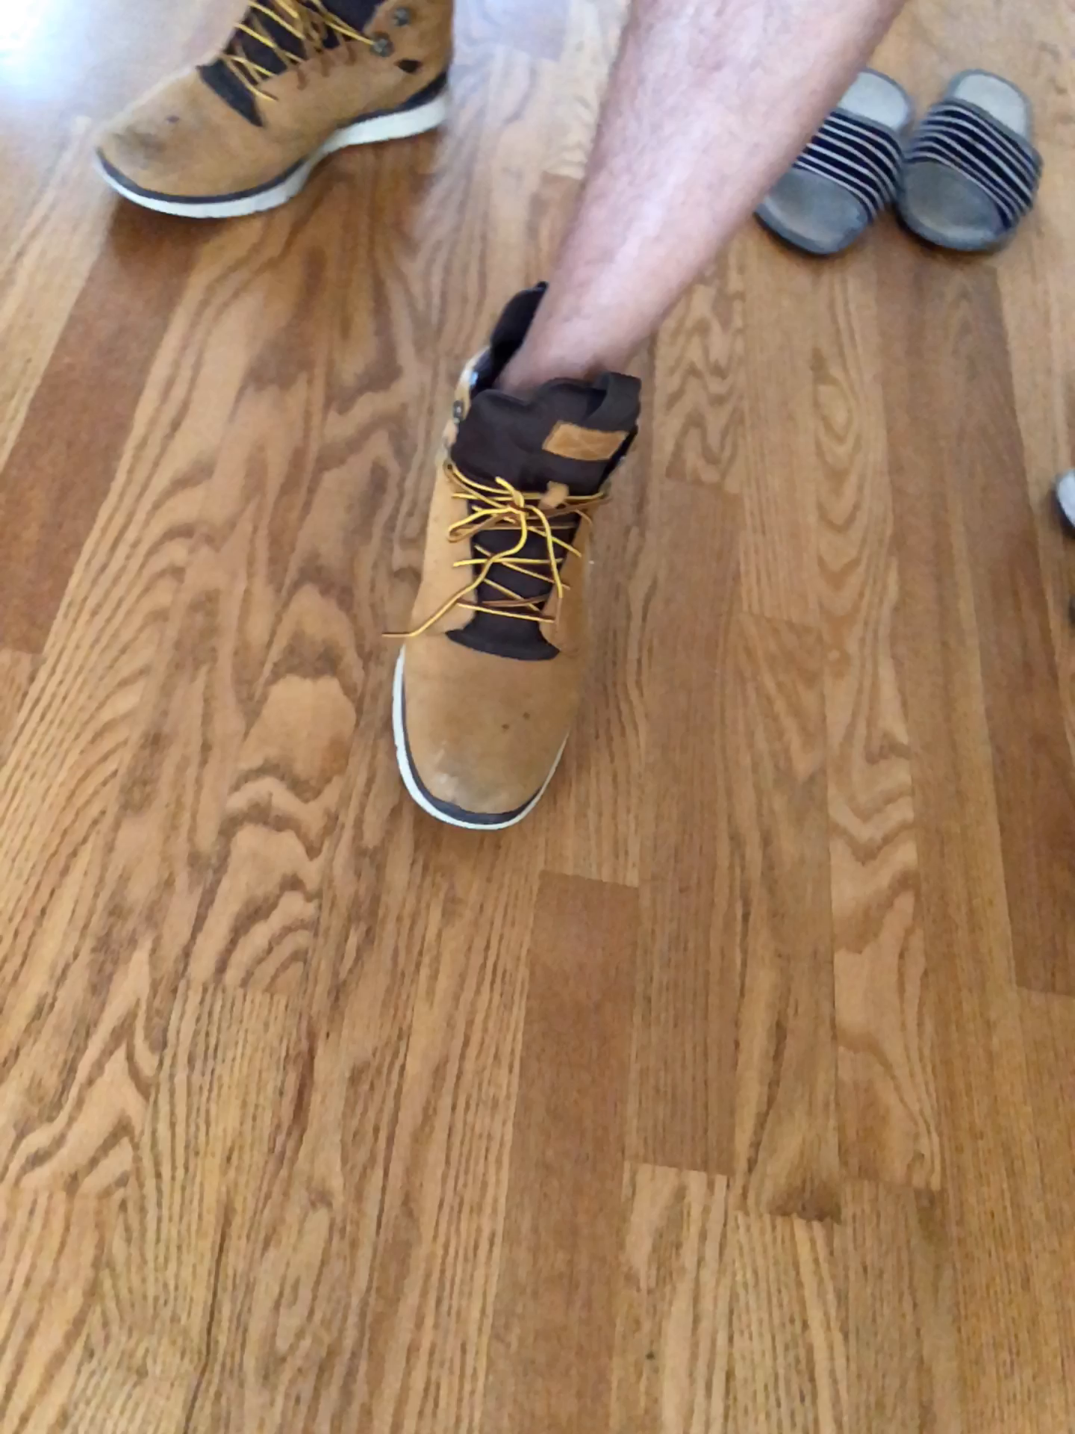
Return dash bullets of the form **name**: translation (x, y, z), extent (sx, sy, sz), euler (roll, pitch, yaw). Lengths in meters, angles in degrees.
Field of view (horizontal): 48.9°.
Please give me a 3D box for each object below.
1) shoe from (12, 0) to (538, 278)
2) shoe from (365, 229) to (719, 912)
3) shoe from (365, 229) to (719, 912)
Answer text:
- **shoe**: translation (-0.167, -0.471, 0.811), extent (0.130, 0.159, 0.331), euler (39, 58, 8)
- **shoe**: translation (0.006, -0.079, 0.614), extent (0.130, 0.139, 0.311), euler (11, 59, -10)
- **shoe**: translation (0.006, -0.079, 0.614), extent (0.130, 0.139, 0.311), euler (11, 59, -10)
